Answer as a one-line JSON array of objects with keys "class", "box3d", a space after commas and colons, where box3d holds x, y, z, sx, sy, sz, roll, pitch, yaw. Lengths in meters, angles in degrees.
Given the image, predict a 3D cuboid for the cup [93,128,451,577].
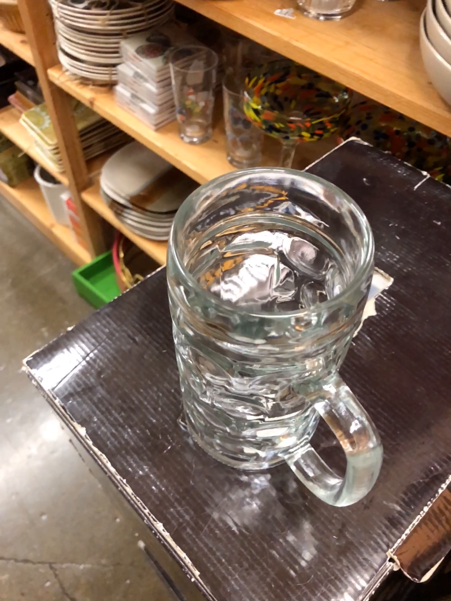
[{"class": "cup", "box3d": [0.023, 0.028, 0.234, 0.100, 0.136, 0.129, -26, 59, -18]}]
